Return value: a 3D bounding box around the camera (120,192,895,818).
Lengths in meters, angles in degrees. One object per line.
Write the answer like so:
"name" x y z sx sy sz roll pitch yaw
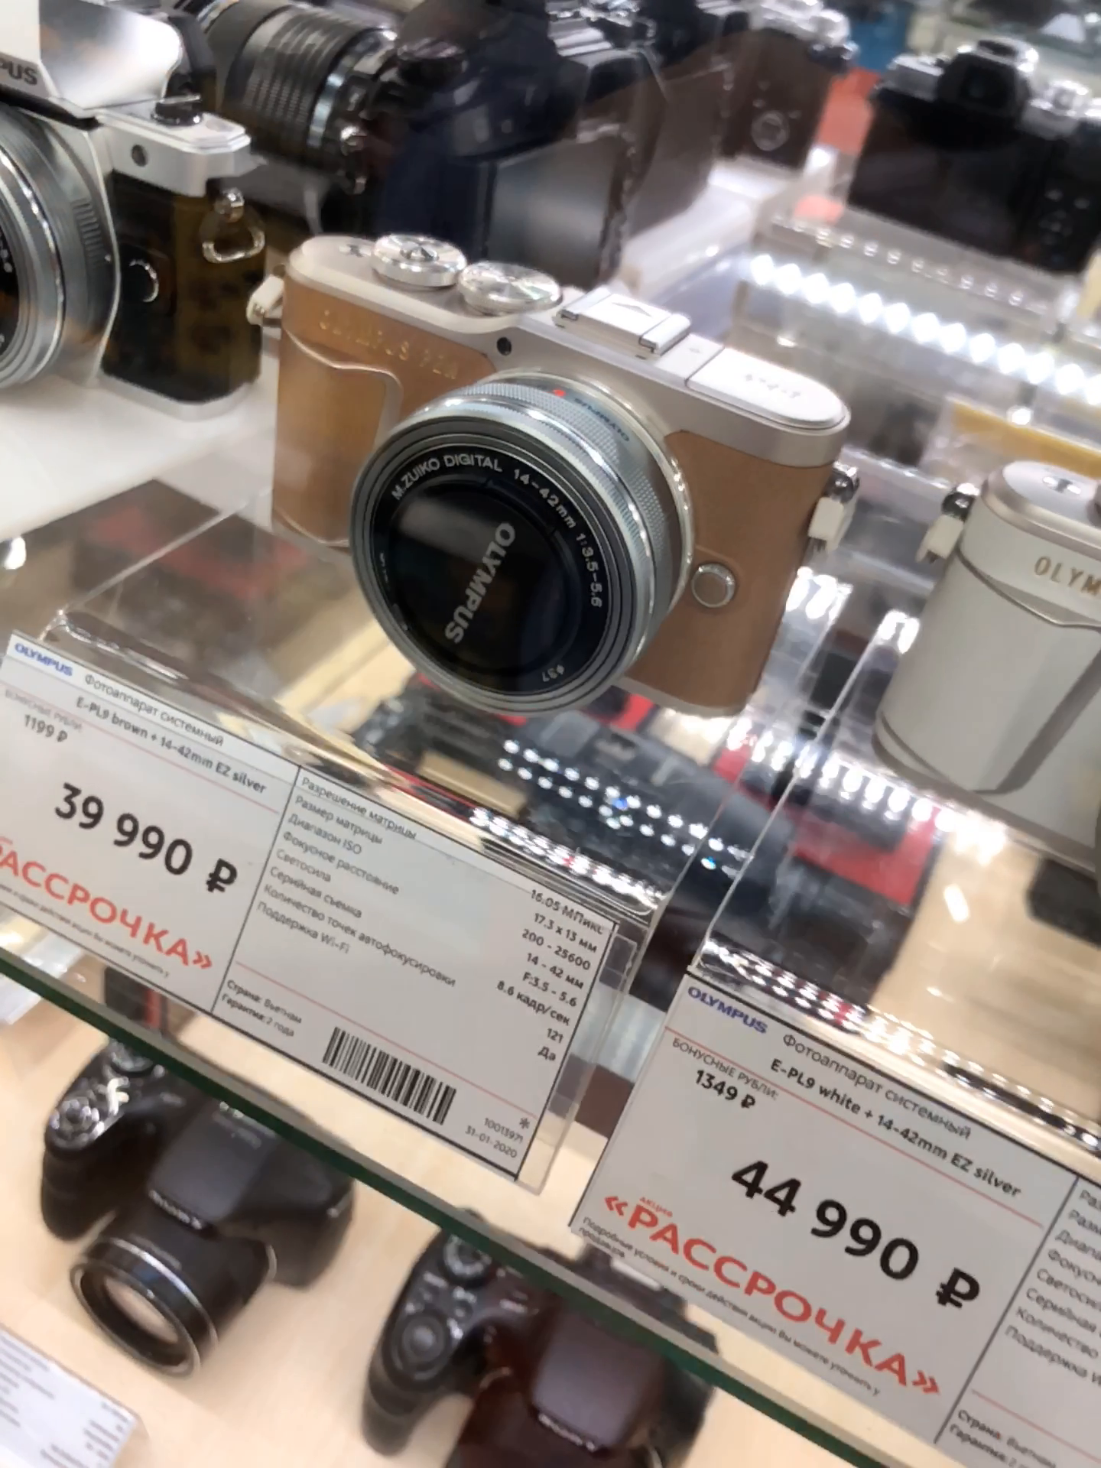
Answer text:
"camera" -0.010 -0.048 0.232 0.122 0.060 0.060 24 39 14

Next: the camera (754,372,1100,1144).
"camera" 0.107 -0.002 0.201 0.122 0.060 0.060 24 39 14
